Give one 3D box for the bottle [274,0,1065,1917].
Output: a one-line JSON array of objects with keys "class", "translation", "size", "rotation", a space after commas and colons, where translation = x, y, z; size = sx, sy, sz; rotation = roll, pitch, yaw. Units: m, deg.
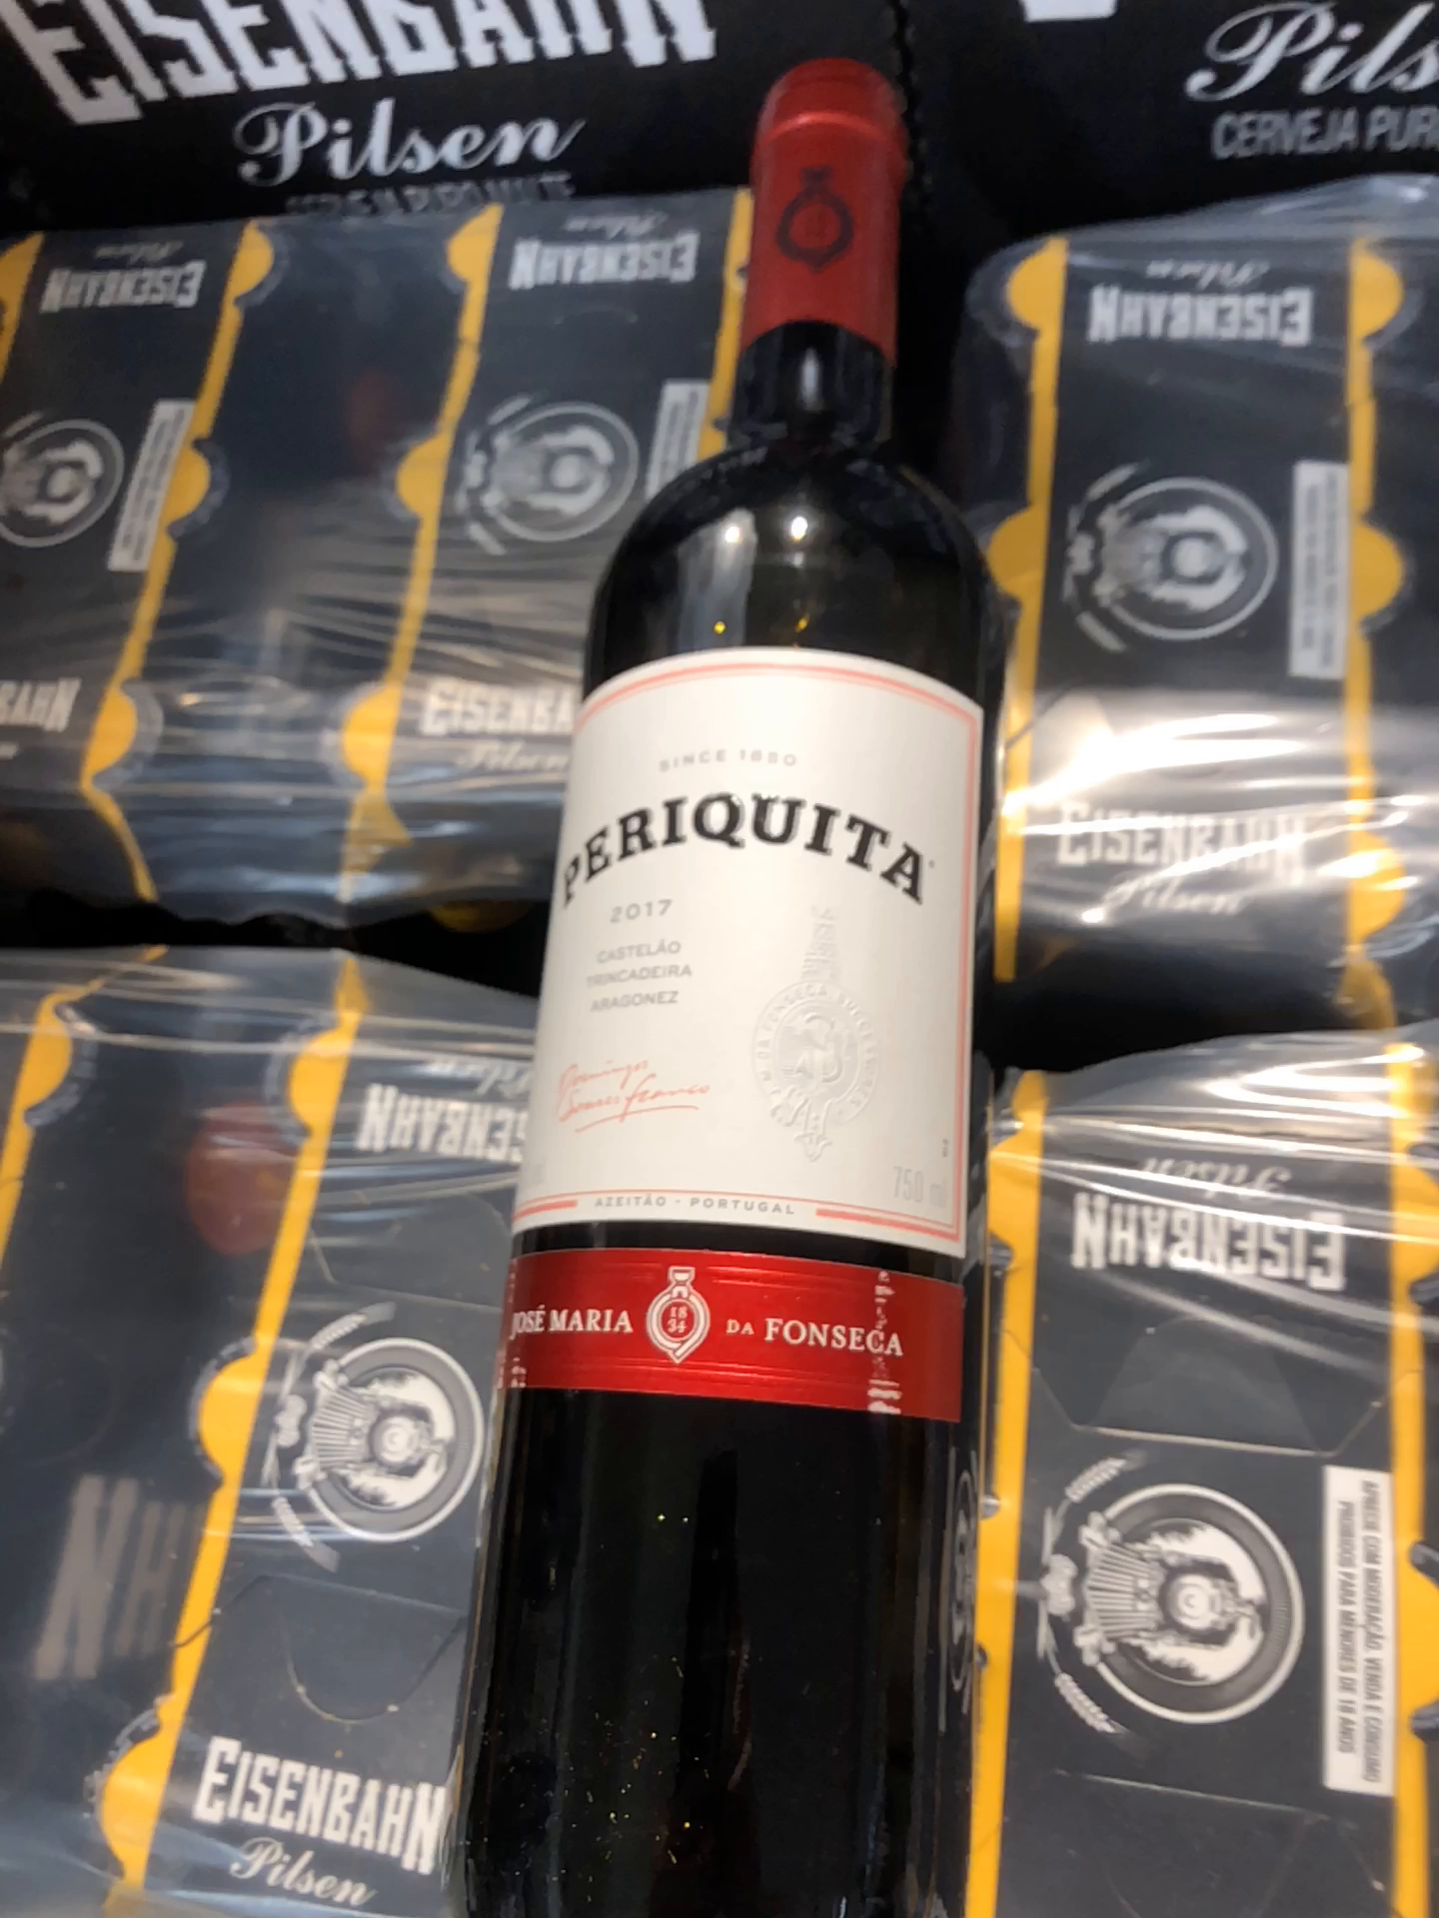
[{"class": "bottle", "translation": [0.011, -0.028, 0.252], "size": [0.080, 0.070, 0.331], "rotation": [1, 71, 12]}]
